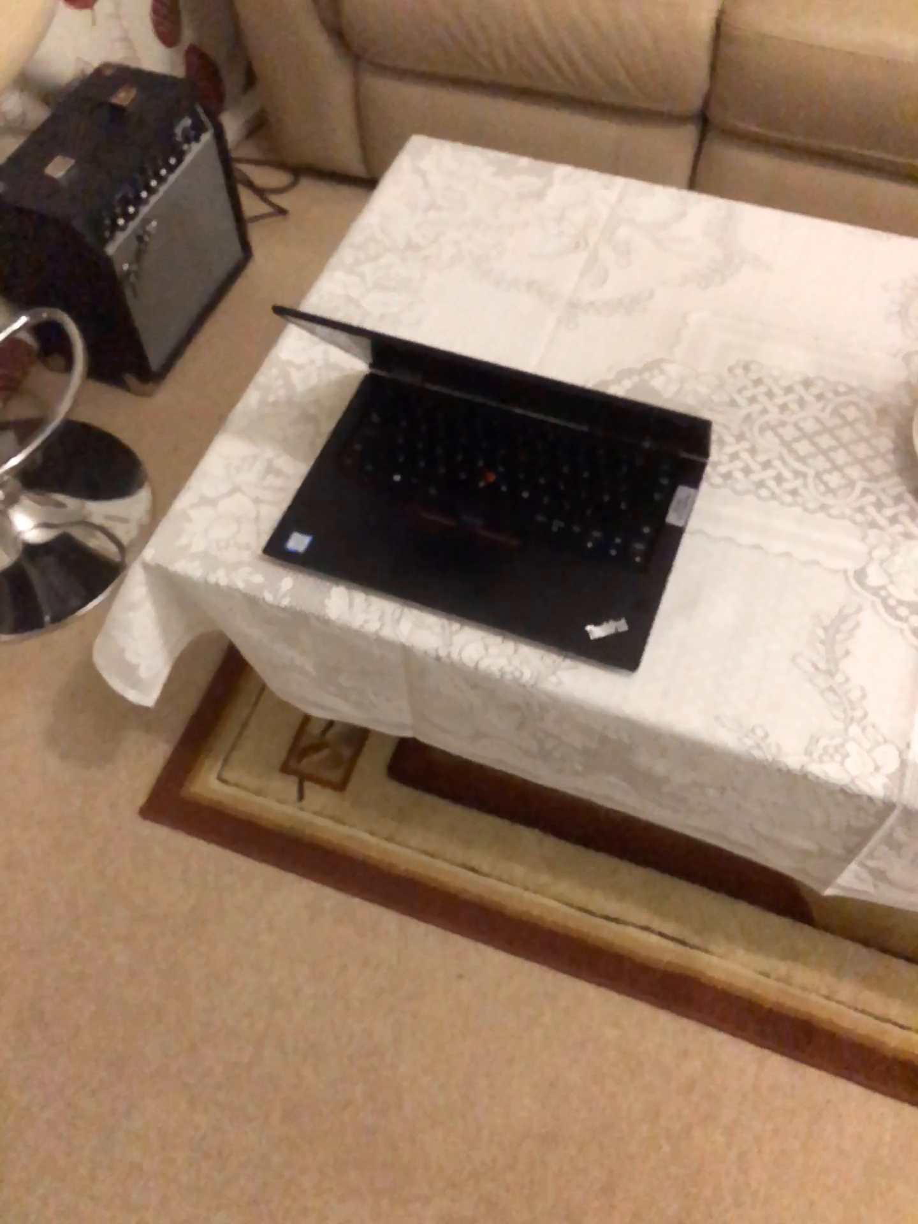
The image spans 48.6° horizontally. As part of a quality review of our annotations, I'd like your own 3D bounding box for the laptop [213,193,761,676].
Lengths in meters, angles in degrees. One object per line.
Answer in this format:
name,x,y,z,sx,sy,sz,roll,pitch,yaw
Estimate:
laptop,0.024,-0.135,0.749,0.309,0.174,0.220,18,61,14
